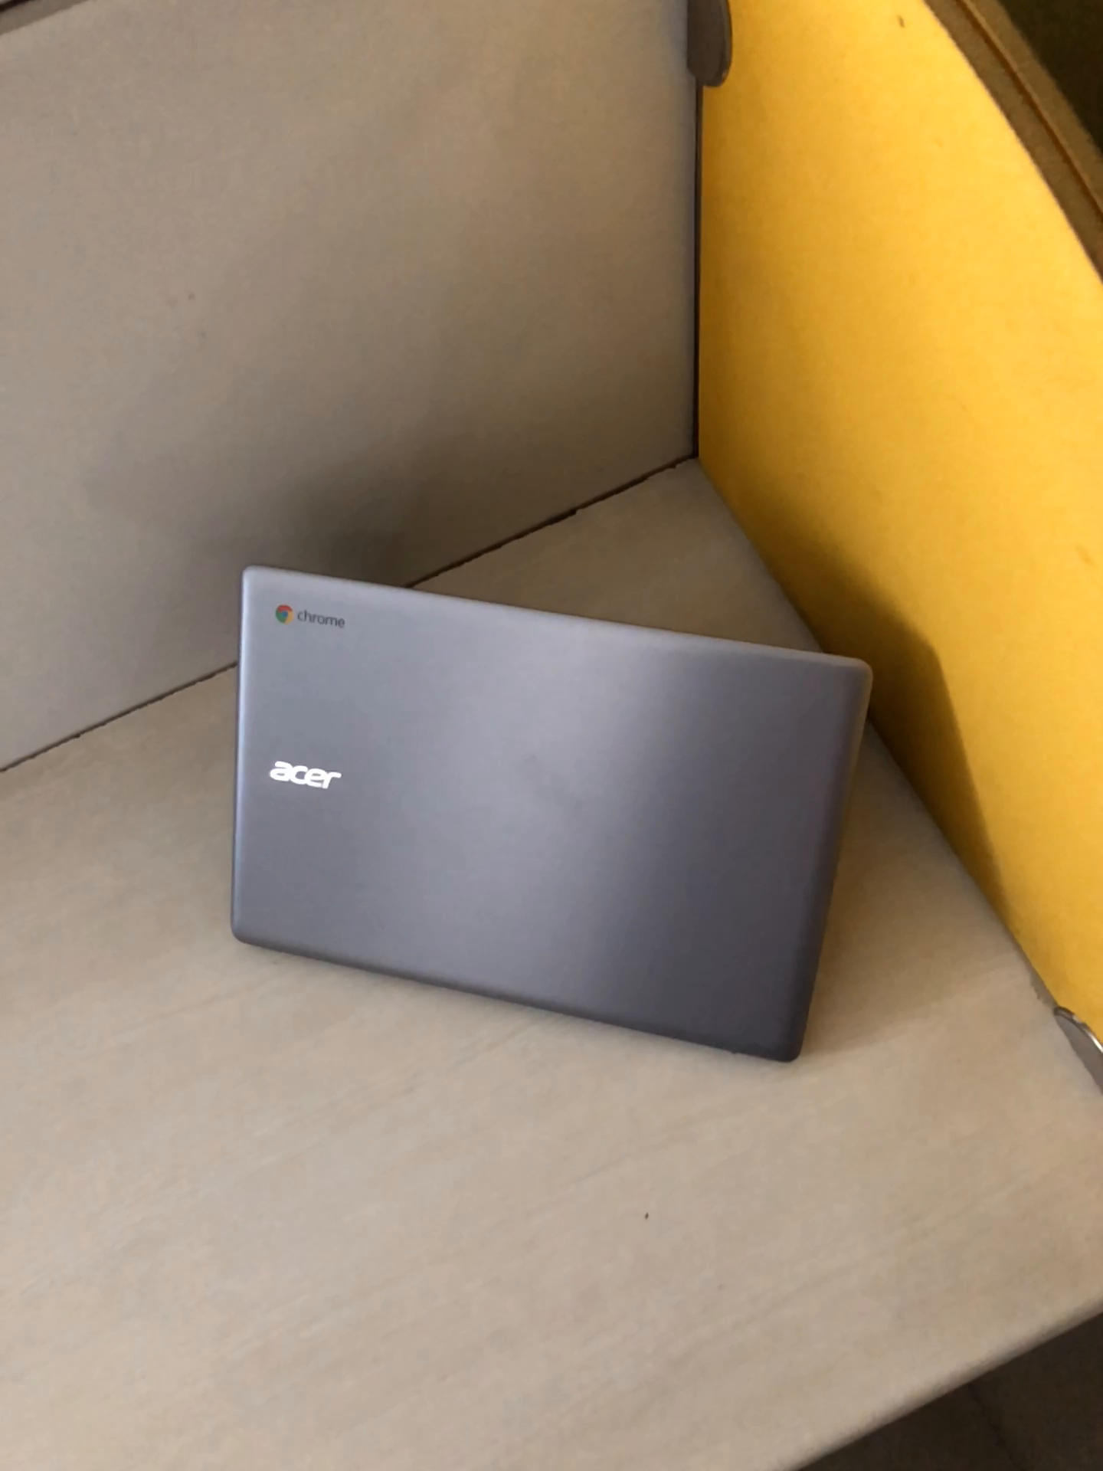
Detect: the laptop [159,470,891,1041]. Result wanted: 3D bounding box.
[{"bbox_3d":[-0.003,0.010,0.652,0.315,0.135,0.222,10,70,10],"label":"laptop"}]
